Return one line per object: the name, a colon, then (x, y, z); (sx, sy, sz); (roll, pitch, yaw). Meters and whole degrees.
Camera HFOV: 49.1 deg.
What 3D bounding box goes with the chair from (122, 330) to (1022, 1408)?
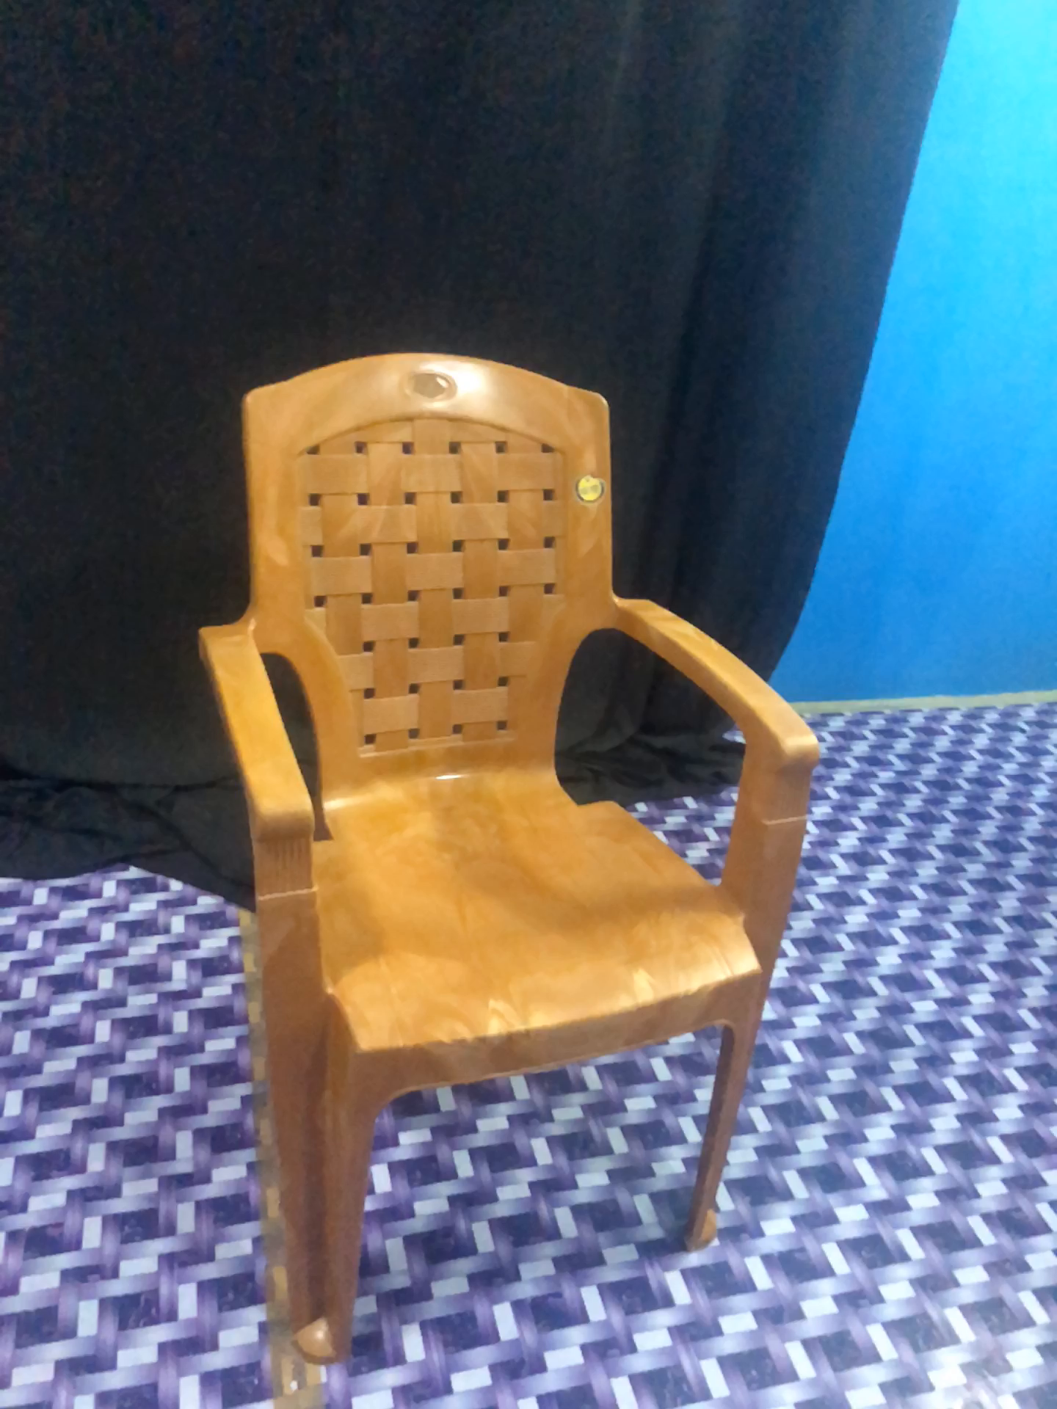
chair: (-0.068, 0.098, 1.203); (0.601, 0.786, 0.662); (-4, 29, -20)
